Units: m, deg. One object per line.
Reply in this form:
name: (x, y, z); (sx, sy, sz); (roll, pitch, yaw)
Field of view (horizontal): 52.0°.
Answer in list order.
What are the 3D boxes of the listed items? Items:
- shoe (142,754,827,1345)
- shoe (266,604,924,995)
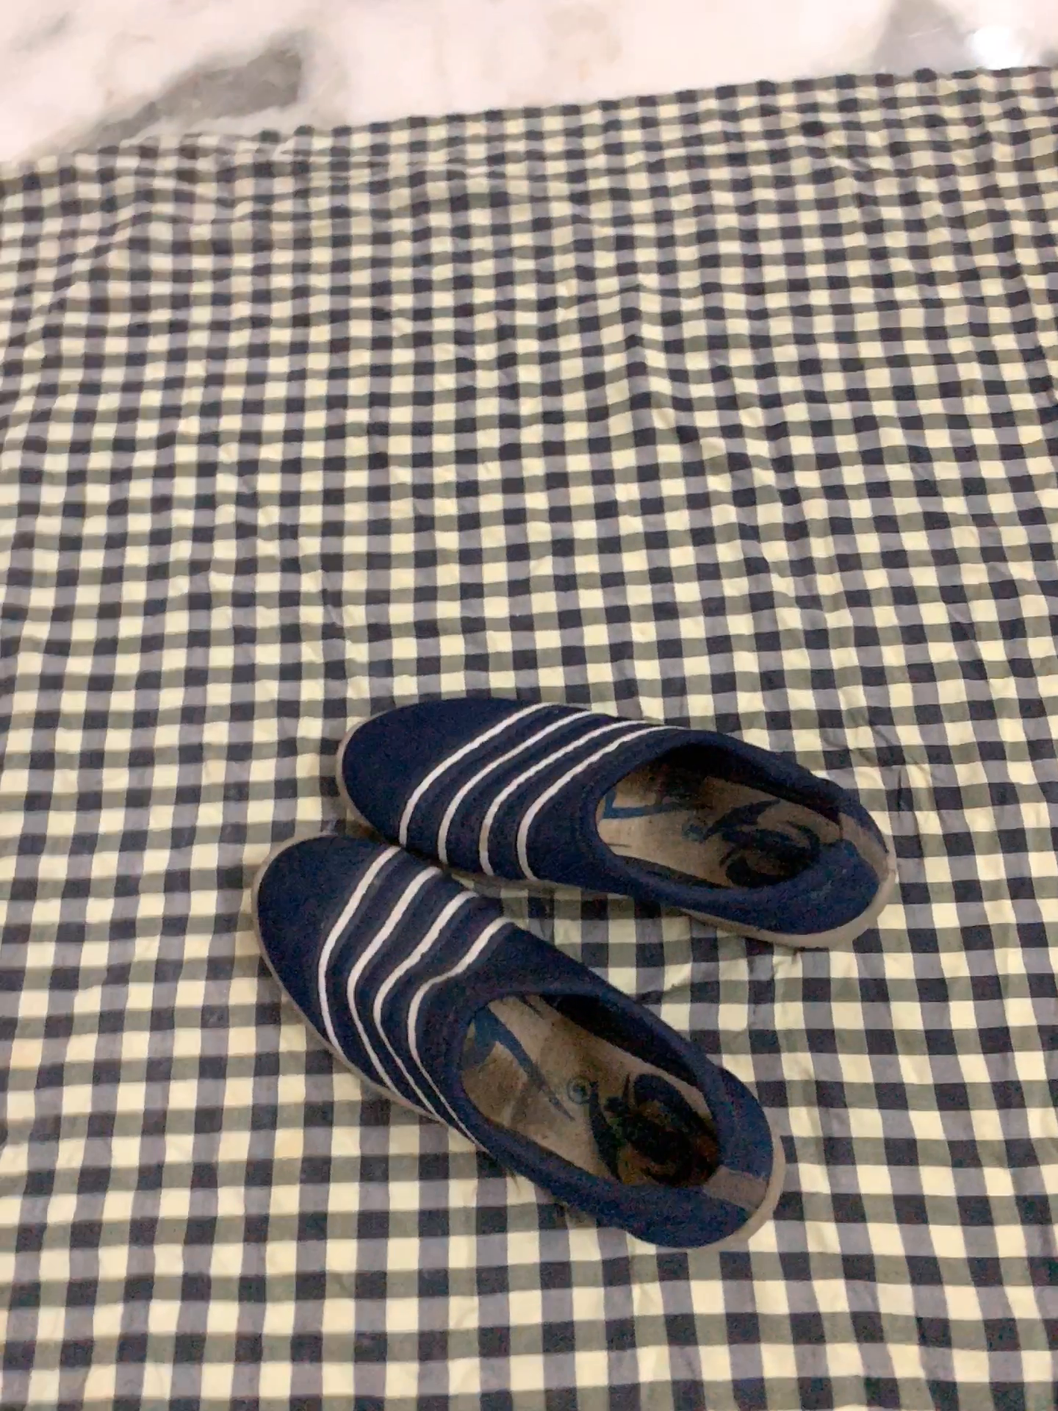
shoe: (-0.020, 0.135, 0.451); (0.251, 0.100, 0.090); (30, 71, 16)
shoe: (0.028, 0.042, 0.478); (0.250, 0.090, 0.090); (13, 68, 10)
